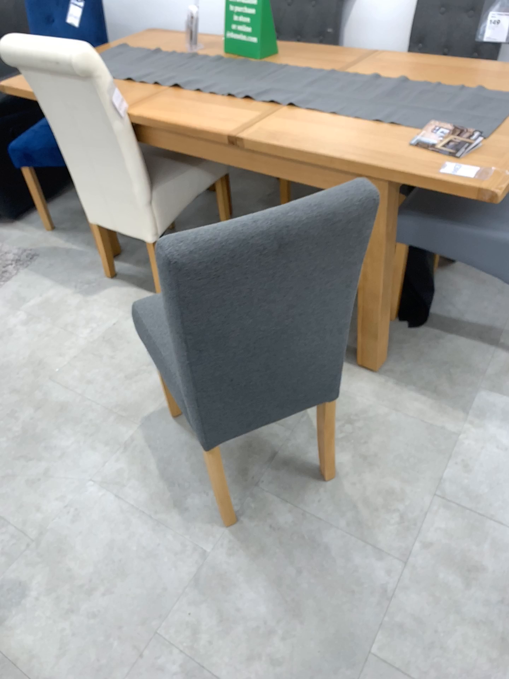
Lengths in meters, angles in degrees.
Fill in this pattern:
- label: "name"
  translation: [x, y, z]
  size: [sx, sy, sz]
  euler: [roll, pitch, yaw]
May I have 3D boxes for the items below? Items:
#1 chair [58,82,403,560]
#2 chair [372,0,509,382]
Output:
- label: "chair"
  translation: [-0.065, -0.046, 1.248]
  size: [0.444, 0.830, 0.648]
  euler: [-19, 43, -13]
- label: "chair"
  translation: [0.773, -0.460, 1.552]
  size: [0.625, 0.899, 0.507]
  euler: [22, 49, 28]
